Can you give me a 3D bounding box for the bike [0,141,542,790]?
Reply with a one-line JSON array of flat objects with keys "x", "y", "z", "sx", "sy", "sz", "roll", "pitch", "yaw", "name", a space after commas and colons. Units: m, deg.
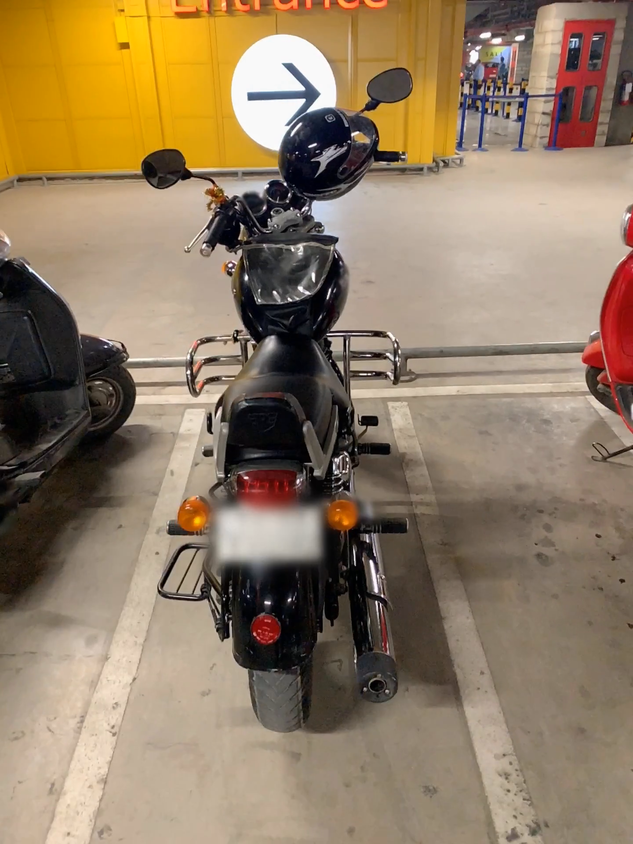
[{"x": -0.168, "y": -0.175, "z": 2.141, "sx": 0.828, "sy": 1.228, "sz": 2.087, "roll": -3, "pitch": 28, "yaw": -3, "name": "bike"}]
